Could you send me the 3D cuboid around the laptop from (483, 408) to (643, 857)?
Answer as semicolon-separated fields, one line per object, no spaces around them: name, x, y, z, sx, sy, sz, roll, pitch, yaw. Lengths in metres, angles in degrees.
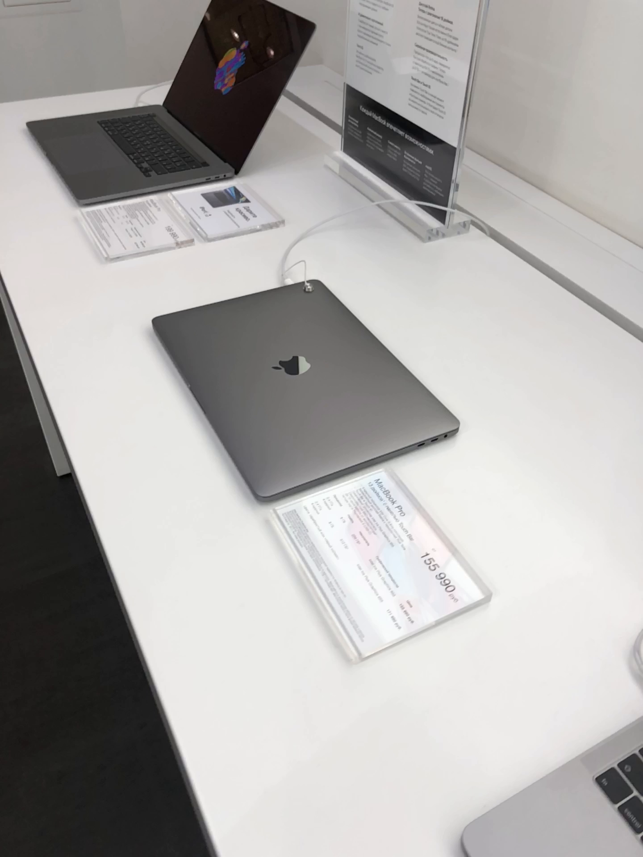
laptop;0.281;0.205;0.283;0.276;0.187;0.310;-22;47;-22

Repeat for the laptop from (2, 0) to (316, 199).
laptop;-0.259;-0.563;1.134;0.380;0.190;0.349;-19;45;-21

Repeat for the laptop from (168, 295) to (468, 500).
laptop;-0.016;-0.051;0.716;0.202;0.001;0.280;-18;43;-20
